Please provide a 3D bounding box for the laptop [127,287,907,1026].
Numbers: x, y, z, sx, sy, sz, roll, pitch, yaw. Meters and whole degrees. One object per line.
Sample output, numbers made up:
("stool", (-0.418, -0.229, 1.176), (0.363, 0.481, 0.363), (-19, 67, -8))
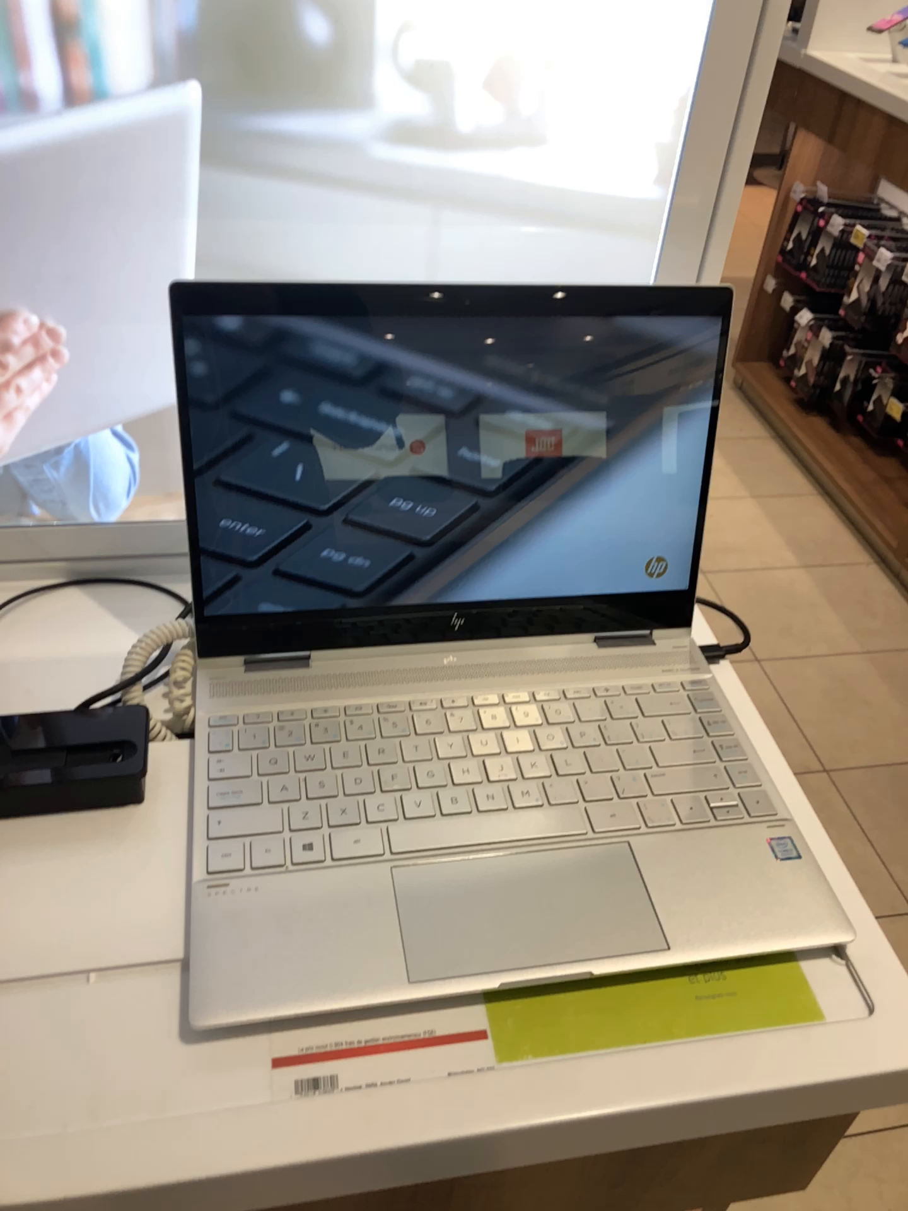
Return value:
("laptop", (0.021, -0.003, 0.482), (0.299, 0.193, 0.283), (-3, 39, -10))
